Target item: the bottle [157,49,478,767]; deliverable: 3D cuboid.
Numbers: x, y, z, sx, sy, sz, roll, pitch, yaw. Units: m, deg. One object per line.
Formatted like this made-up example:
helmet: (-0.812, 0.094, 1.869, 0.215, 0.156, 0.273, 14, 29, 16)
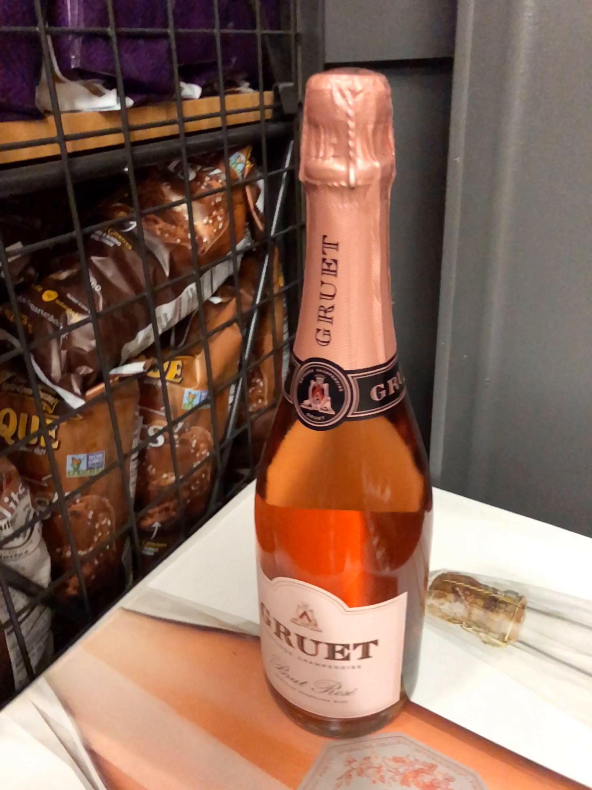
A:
bottle: (0.019, 0.017, 0.306, 0.090, 0.311, 0.090, -2, 26, 1)
